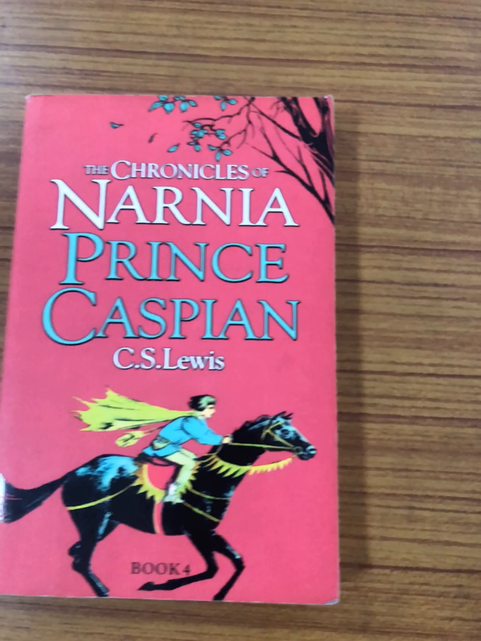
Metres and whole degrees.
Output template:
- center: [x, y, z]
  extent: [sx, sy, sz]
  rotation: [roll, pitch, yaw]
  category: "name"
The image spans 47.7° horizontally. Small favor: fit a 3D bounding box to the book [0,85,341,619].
- center: [-0.030, 0.006, 0.211]
  extent: [0.130, 0.030, 0.190]
  rotation: [1, 81, 0]
  category: "book"
